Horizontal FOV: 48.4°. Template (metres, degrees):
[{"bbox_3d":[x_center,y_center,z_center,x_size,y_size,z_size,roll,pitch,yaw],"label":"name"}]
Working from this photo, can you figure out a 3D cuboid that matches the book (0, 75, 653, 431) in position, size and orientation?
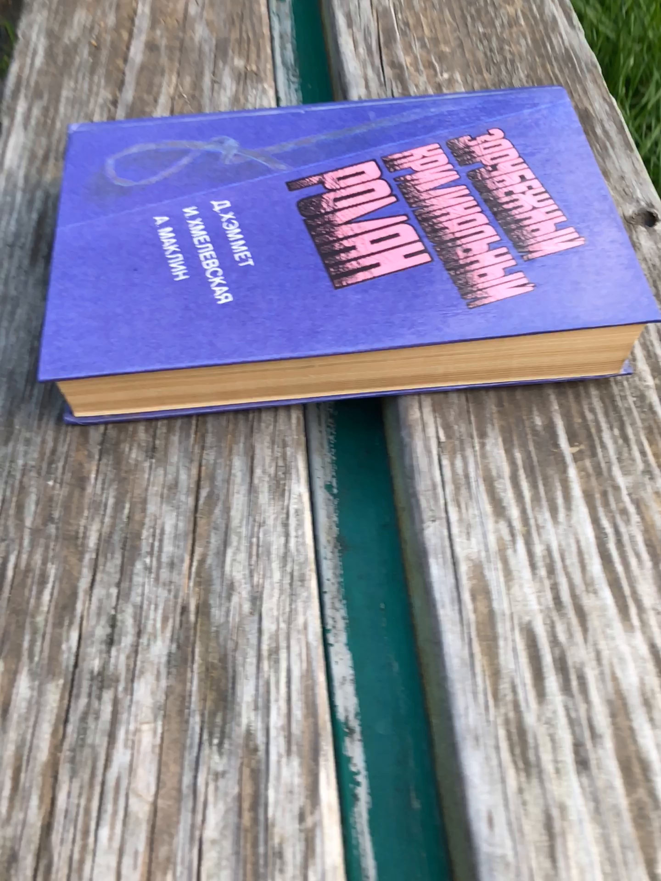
[{"bbox_3d":[-0.006,-0.076,0.275,0.204,0.030,0.131,-5,59,-2],"label":"book"}]
